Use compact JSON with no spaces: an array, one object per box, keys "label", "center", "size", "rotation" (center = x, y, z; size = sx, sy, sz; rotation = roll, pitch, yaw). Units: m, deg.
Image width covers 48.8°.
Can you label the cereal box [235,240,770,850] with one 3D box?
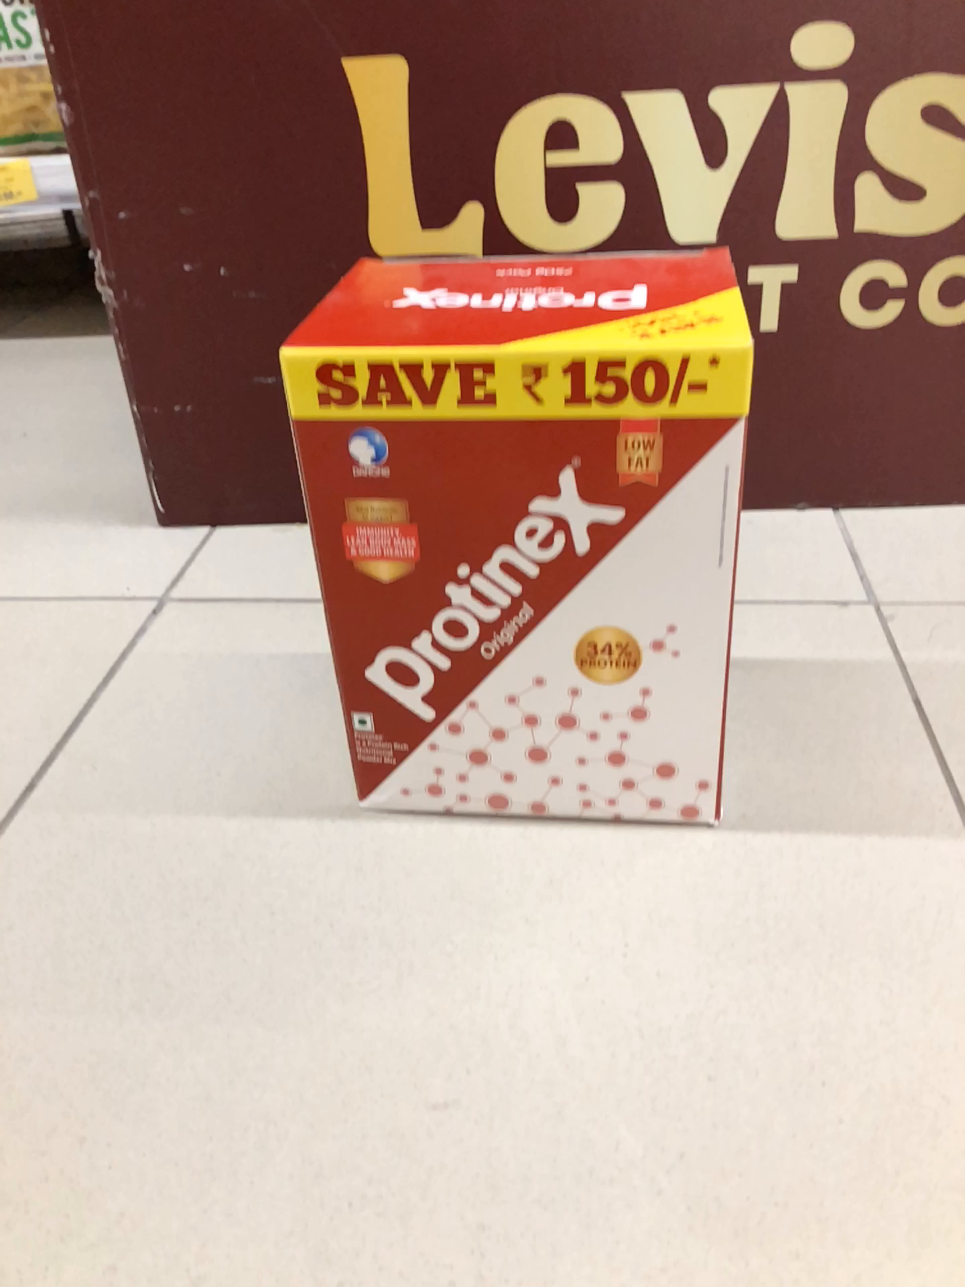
[{"label":"cereal box","center":[0.017,-0.039,0.418],"size":[0.160,0.199,0.121],"rotation":[1,32,8]}]
